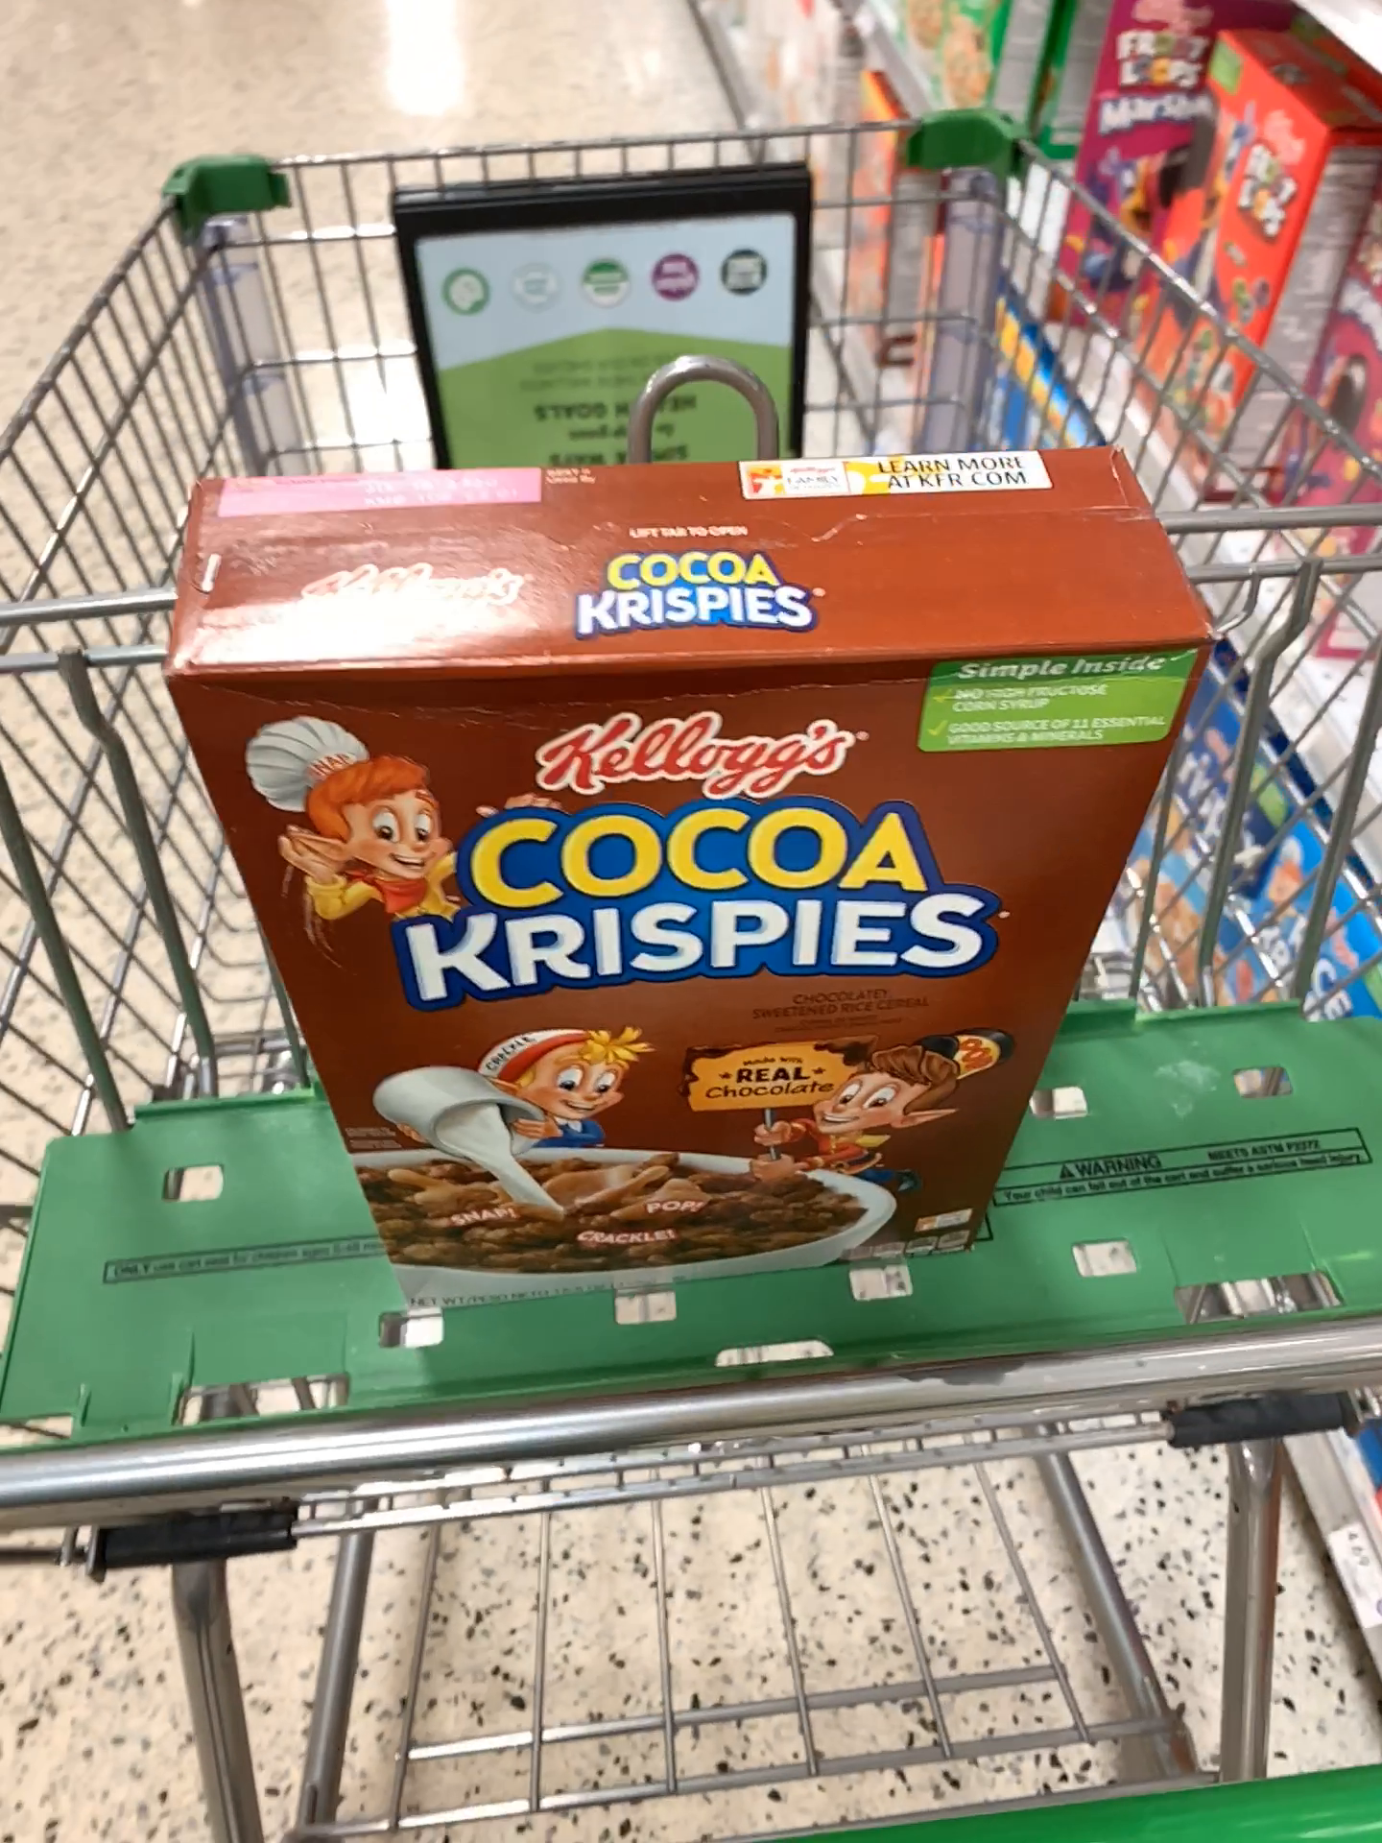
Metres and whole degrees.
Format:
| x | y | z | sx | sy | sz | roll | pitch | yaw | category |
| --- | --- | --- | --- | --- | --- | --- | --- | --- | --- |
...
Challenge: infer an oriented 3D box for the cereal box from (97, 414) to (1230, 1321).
| x | y | z | sx | sy | sz | roll | pitch | yaw | category |
| --- | --- | --- | --- | --- | --- | --- | --- | --- | --- |
| -0.004 | 0.018 | 0.394 | 0.200 | 0.307 | 0.061 | -4 | 54 | -2 | cereal box |
